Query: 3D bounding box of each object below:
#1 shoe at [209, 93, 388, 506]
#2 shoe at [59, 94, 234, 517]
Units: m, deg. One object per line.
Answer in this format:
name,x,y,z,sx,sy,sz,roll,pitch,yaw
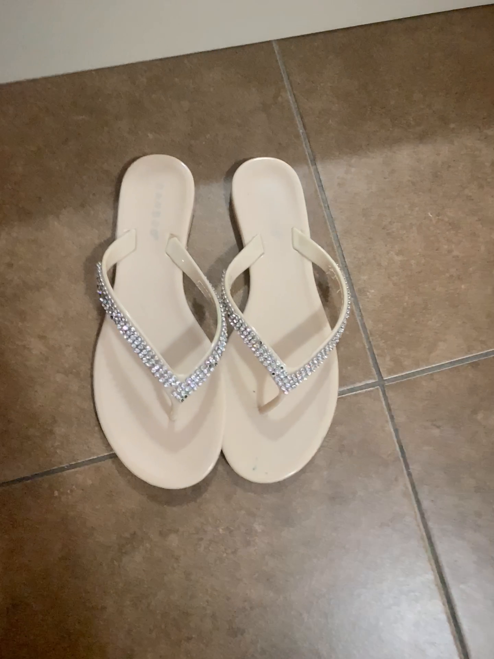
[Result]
shoe,0.025,-0.022,0.333,0.091,0.067,0.249,-2,79,-5
shoe,-0.062,-0.019,0.327,0.093,0.067,0.249,-2,79,-5
